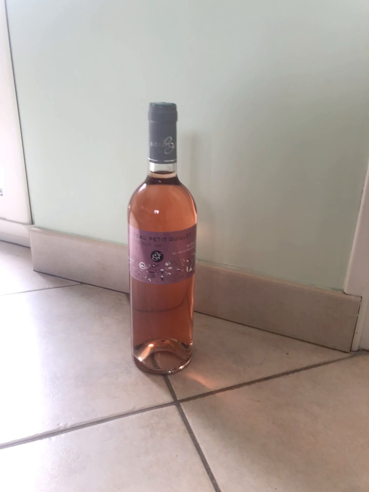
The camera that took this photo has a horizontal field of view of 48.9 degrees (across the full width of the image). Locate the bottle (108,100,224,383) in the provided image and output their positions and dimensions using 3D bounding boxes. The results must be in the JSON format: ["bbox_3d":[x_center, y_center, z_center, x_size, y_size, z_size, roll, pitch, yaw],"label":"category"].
[{"bbox_3d":[-0.025,-0.005,0.447,0.090,0.288,0.090,1,22,-1],"label":"bottle"}]
